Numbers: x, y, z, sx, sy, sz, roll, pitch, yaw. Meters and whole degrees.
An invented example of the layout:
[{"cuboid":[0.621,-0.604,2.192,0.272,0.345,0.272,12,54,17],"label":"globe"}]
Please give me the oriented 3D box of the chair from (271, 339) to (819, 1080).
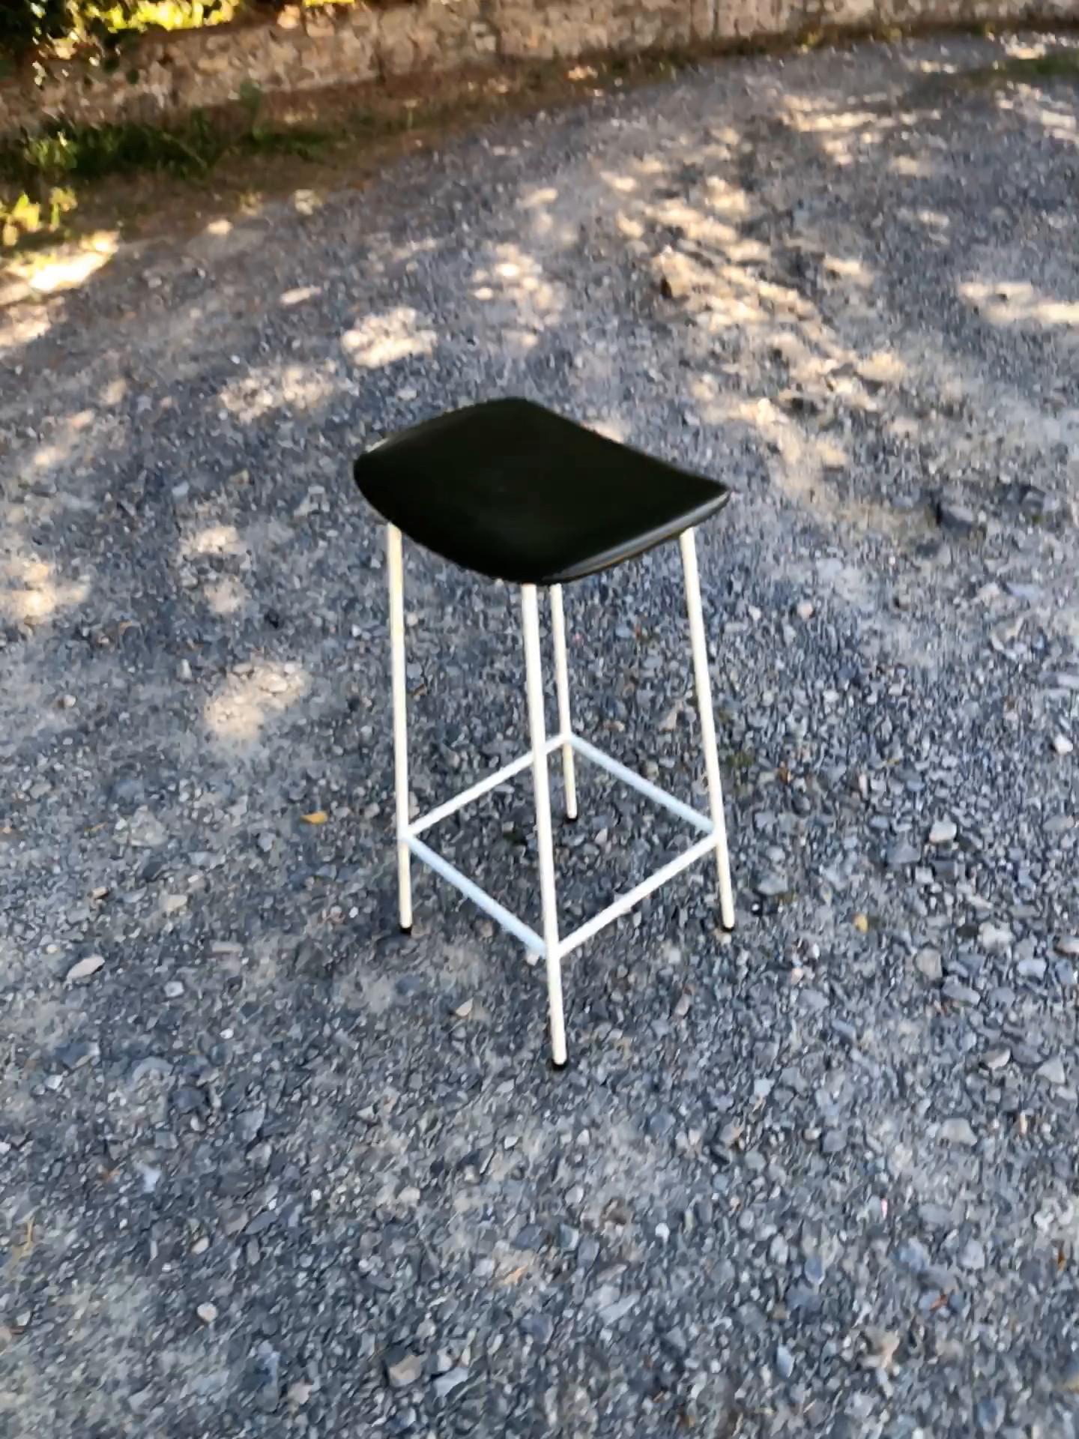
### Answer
[{"cuboid":[0.014,-0.010,1.331,0.372,0.646,0.370,-32,48,-30],"label":"chair"}]
